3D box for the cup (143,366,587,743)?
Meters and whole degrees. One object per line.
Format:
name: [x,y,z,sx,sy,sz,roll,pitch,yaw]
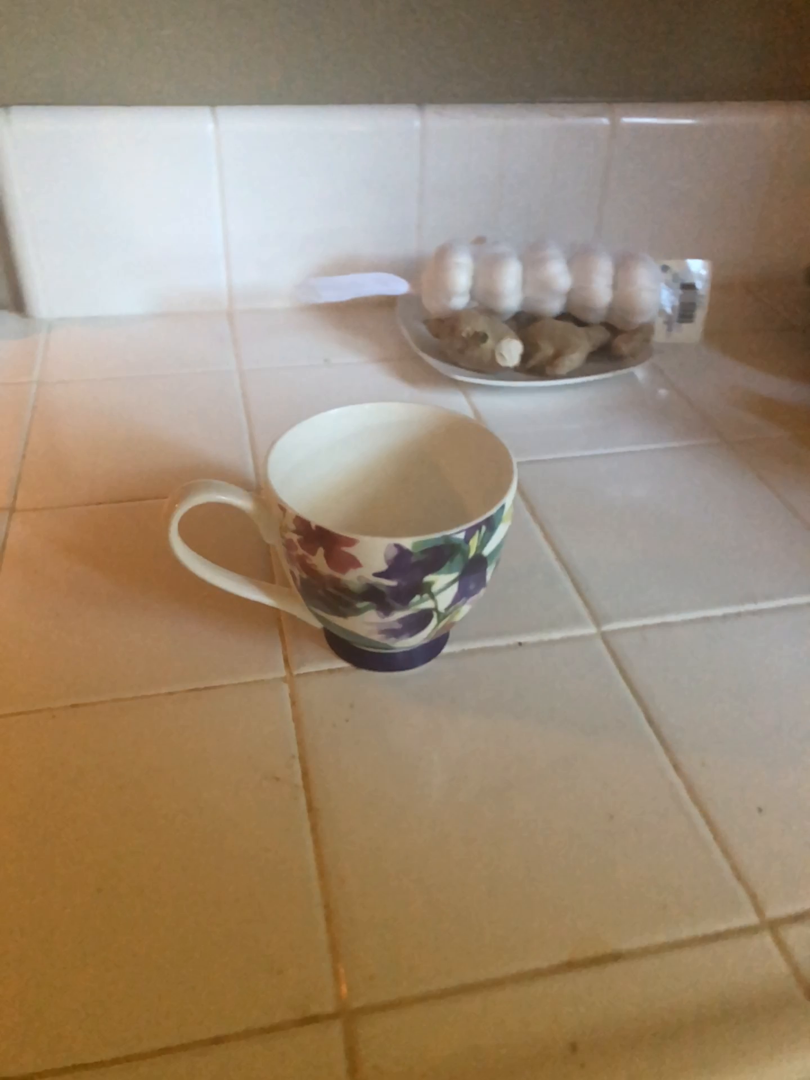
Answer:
cup: [-0.020,-0.003,0.392,0.151,0.079,0.111,-16,42,-23]
